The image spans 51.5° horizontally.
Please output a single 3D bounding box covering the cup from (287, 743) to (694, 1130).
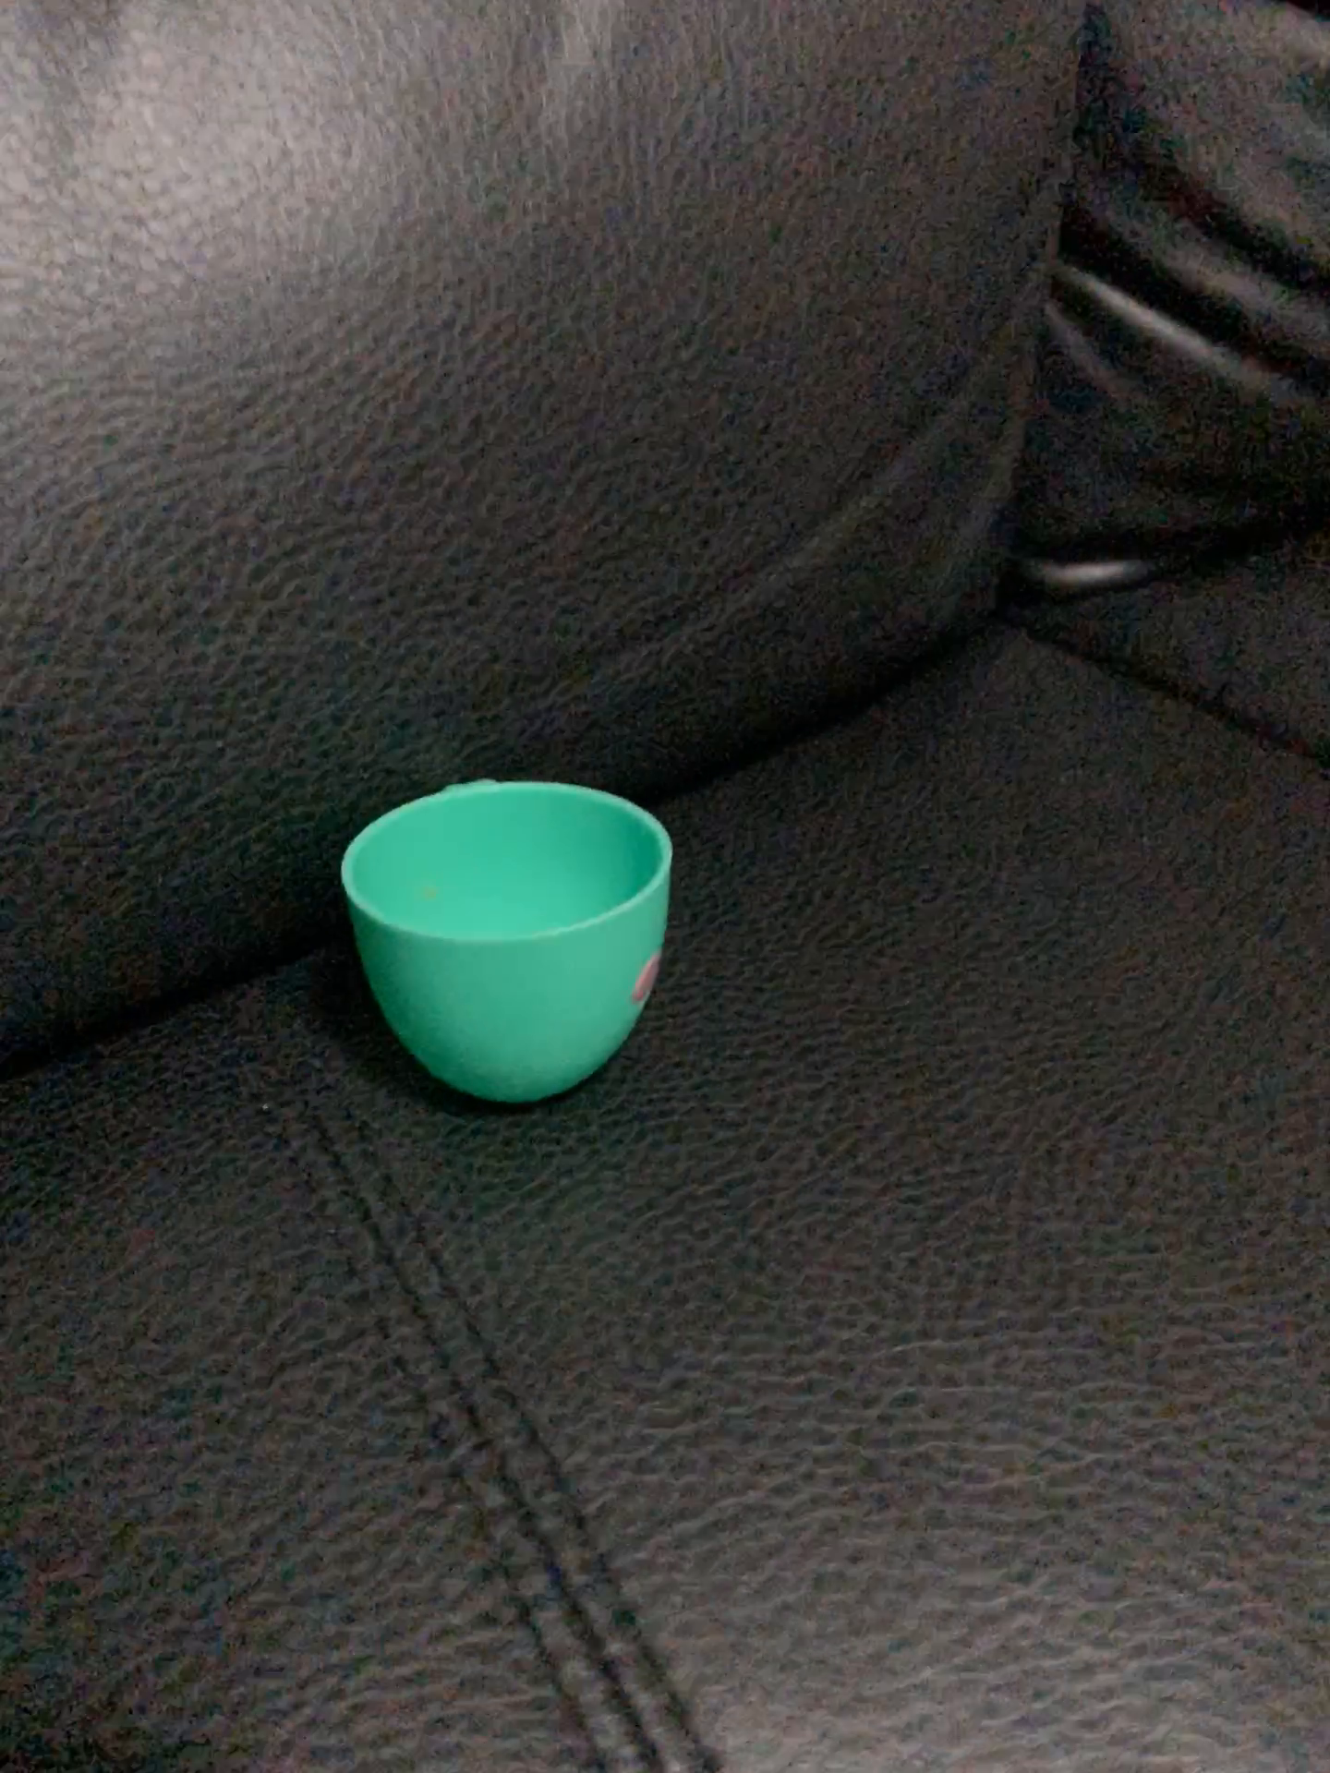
[{"bbox_3d":[-0.029,0.004,0.217,0.053,0.030,0.063,-7,25,-11],"label":"cup"}]
